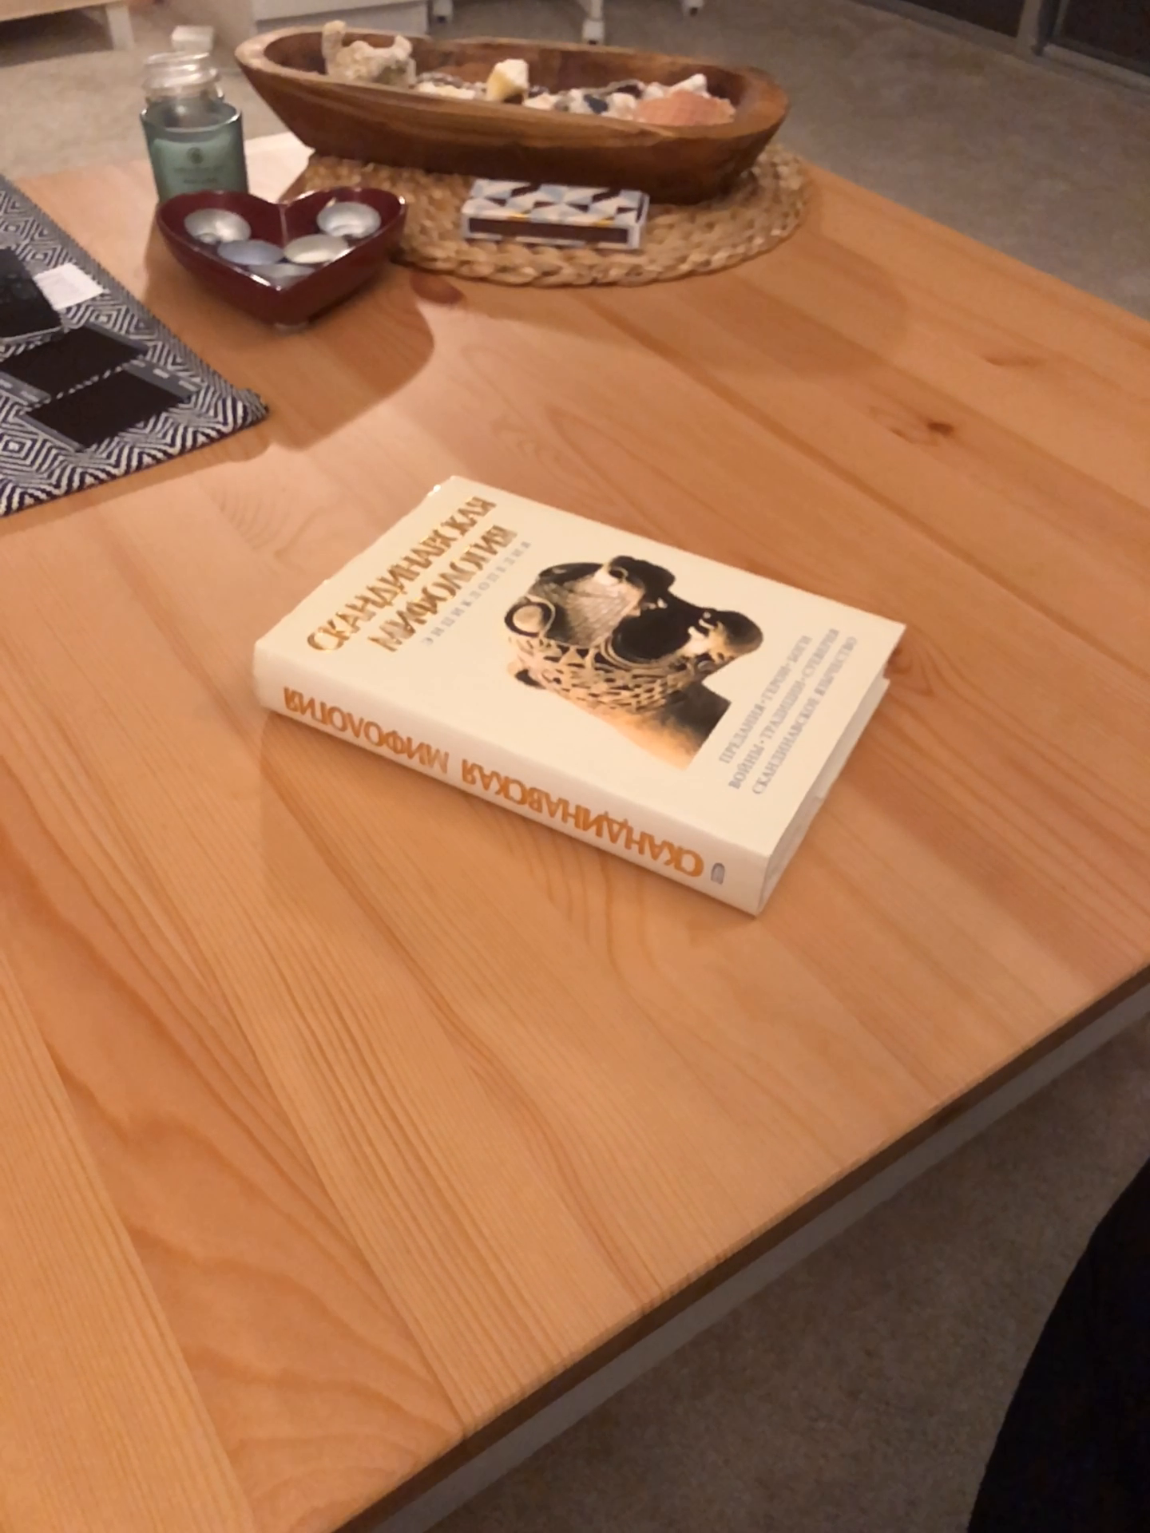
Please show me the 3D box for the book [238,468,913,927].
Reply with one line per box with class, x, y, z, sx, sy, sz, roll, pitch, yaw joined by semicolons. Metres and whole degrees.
book;0.003;-0.040;0.503;0.215;0.030;0.151;22;47;19
